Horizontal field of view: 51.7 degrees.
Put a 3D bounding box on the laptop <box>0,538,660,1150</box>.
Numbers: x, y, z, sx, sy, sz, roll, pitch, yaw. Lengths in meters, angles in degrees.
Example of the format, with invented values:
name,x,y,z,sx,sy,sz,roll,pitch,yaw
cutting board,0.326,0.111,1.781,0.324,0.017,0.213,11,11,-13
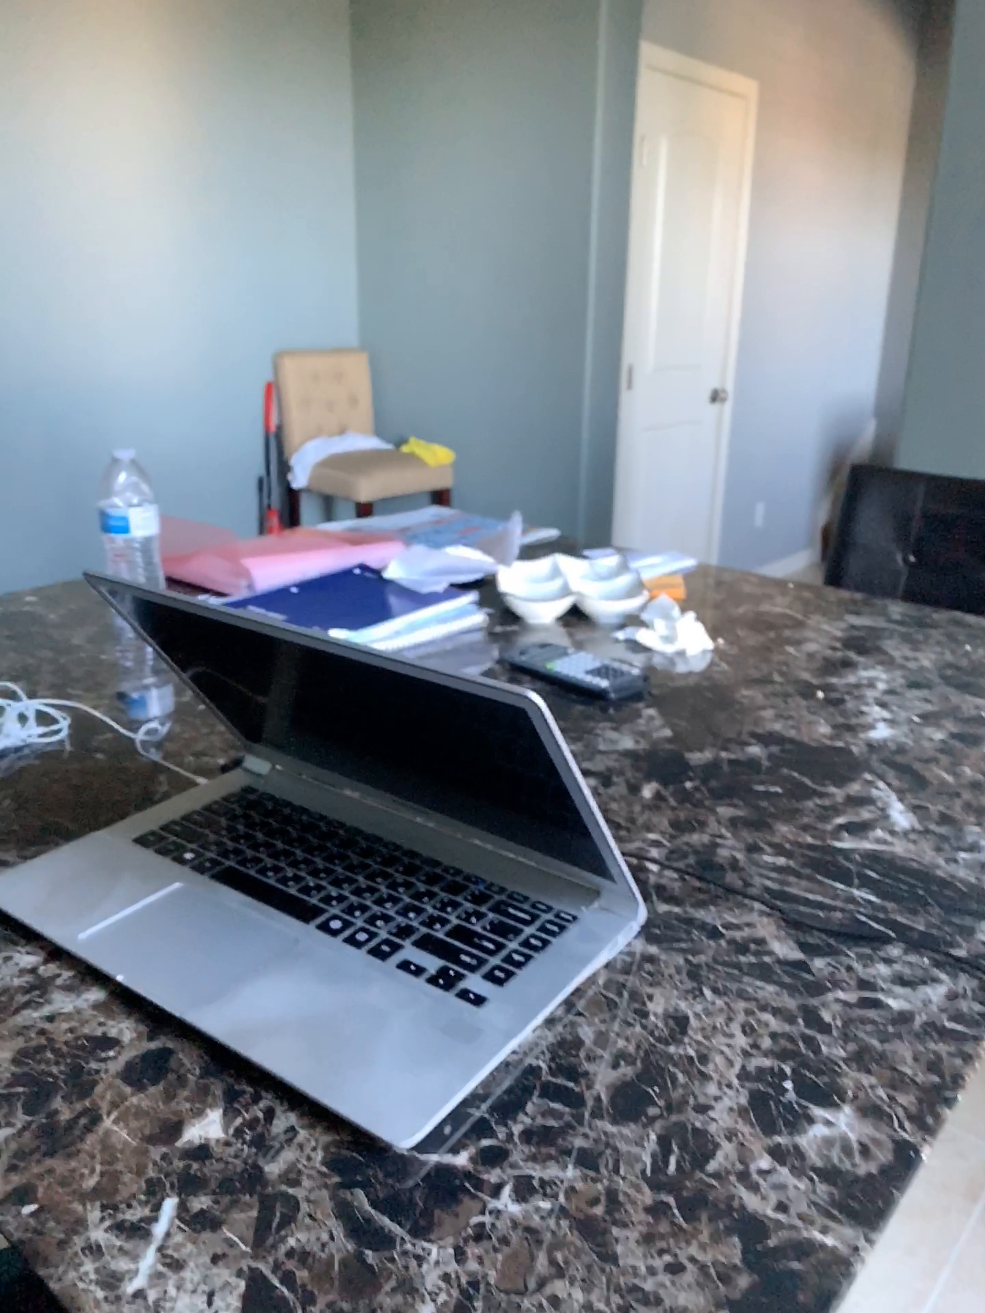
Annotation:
name,x,y,z,sx,sy,sz,roll,pitch,yaw
laptop,-0.120,0.066,0.619,0.362,0.188,0.234,14,23,33
